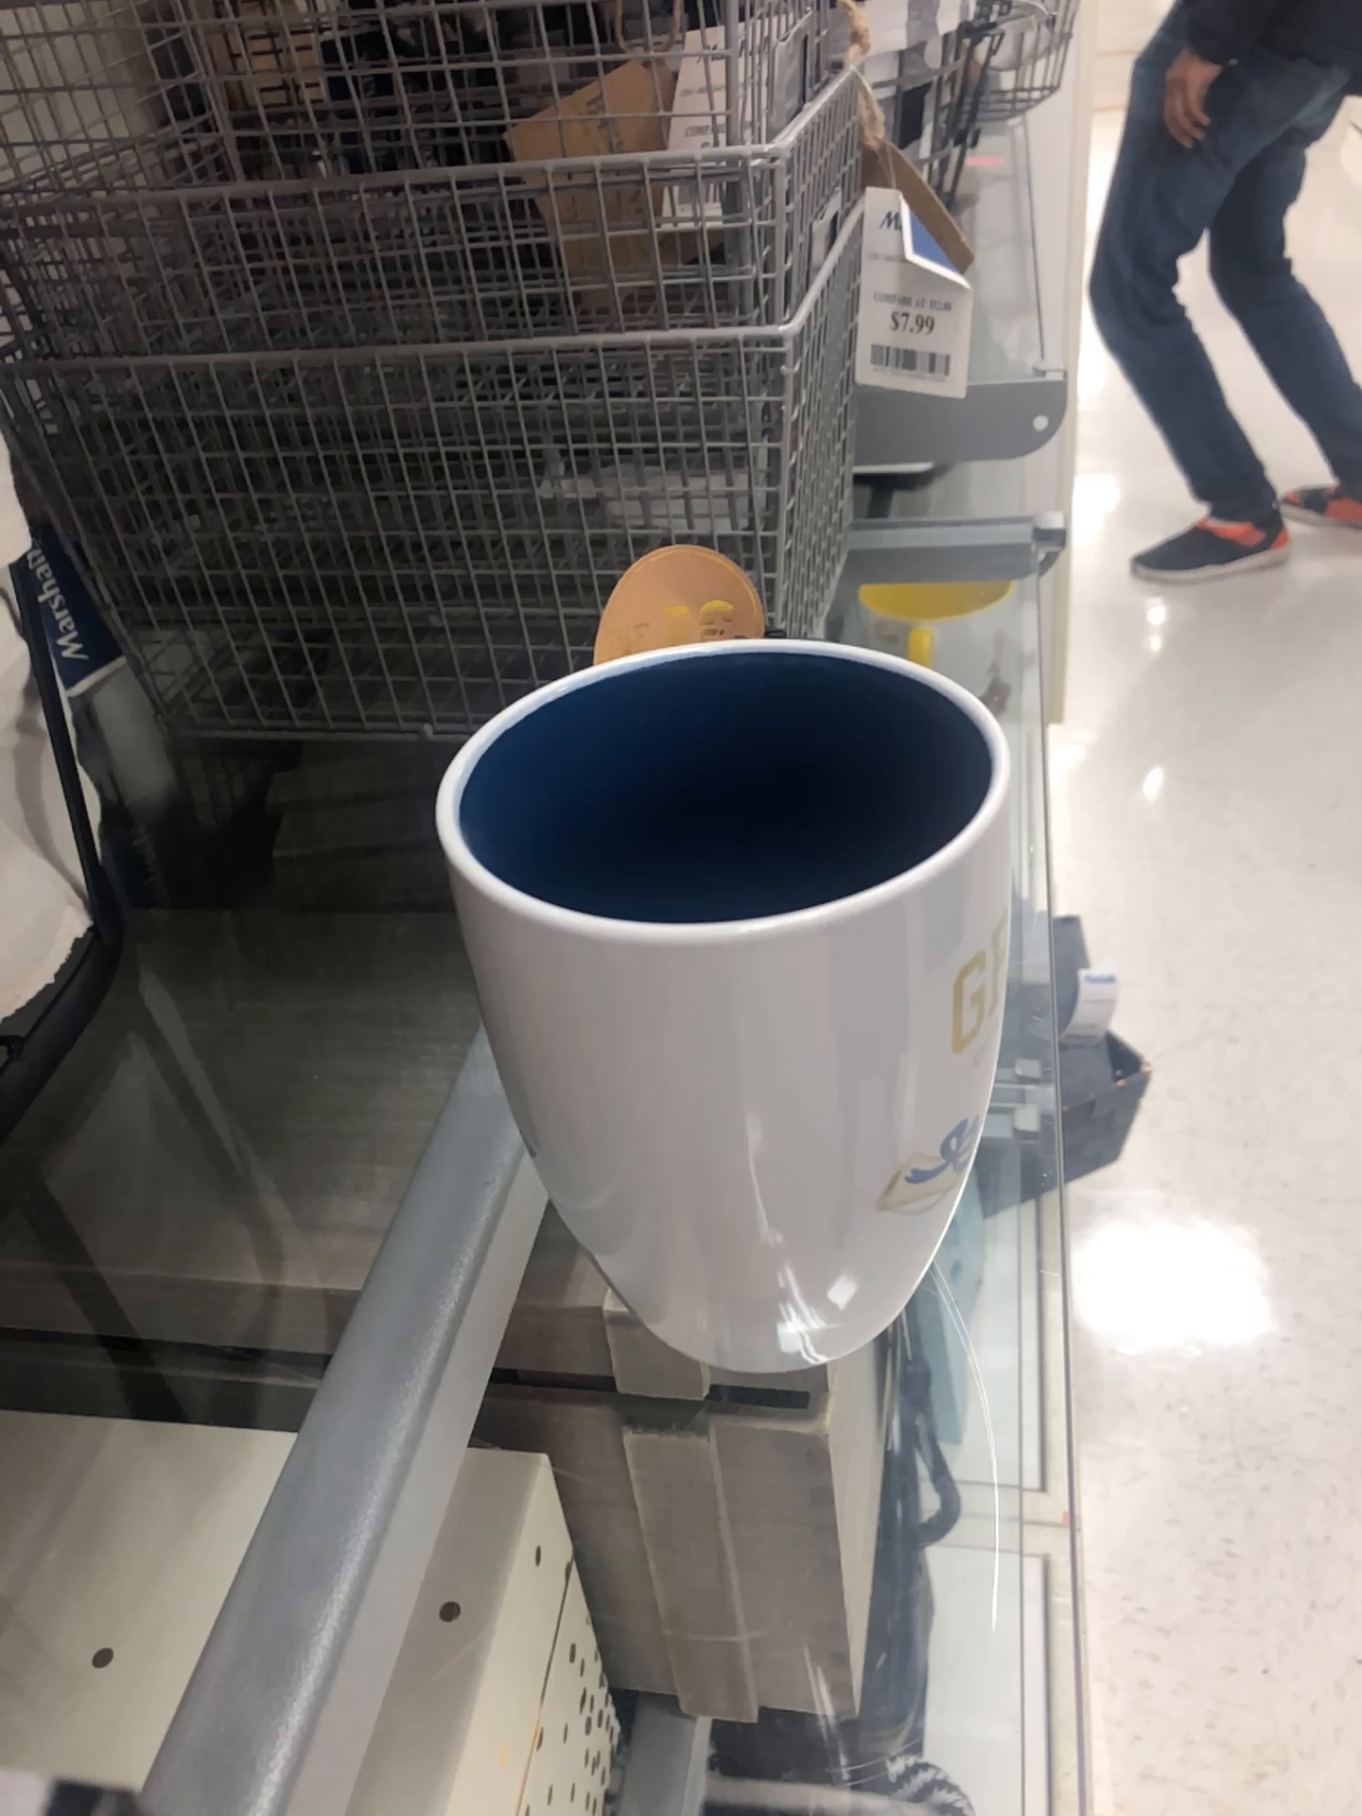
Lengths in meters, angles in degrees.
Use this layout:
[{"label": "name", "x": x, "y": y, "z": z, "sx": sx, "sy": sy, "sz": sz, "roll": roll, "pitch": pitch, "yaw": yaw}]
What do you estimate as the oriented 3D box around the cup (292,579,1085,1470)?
[{"label": "cup", "x": 0.018, "y": 0.011, "z": 0.301, "sx": 0.116, "sy": 0.096, "sz": 0.150, "roll": 2, "pitch": 35, "yaw": 13}]
